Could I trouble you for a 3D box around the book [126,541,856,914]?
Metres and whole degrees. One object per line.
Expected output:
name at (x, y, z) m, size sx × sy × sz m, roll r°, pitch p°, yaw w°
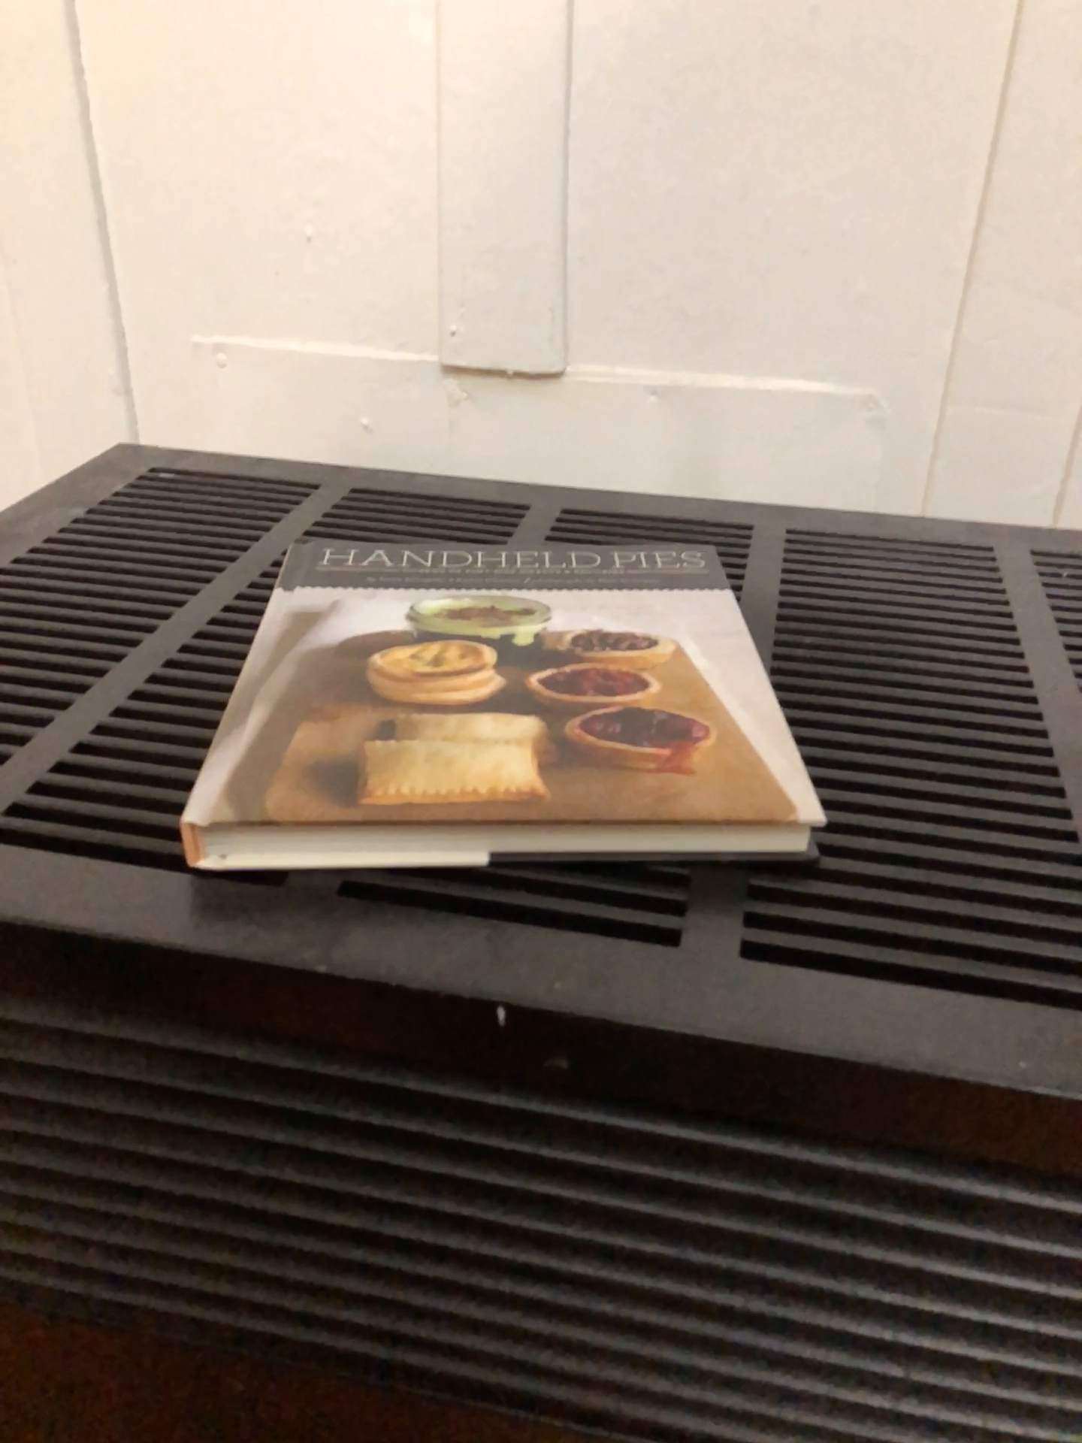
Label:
book at (-0.017, -0.013, 0.430) m, size 0.200 × 0.020 × 0.231 m, roll -1°, pitch 30°, yaw -2°
